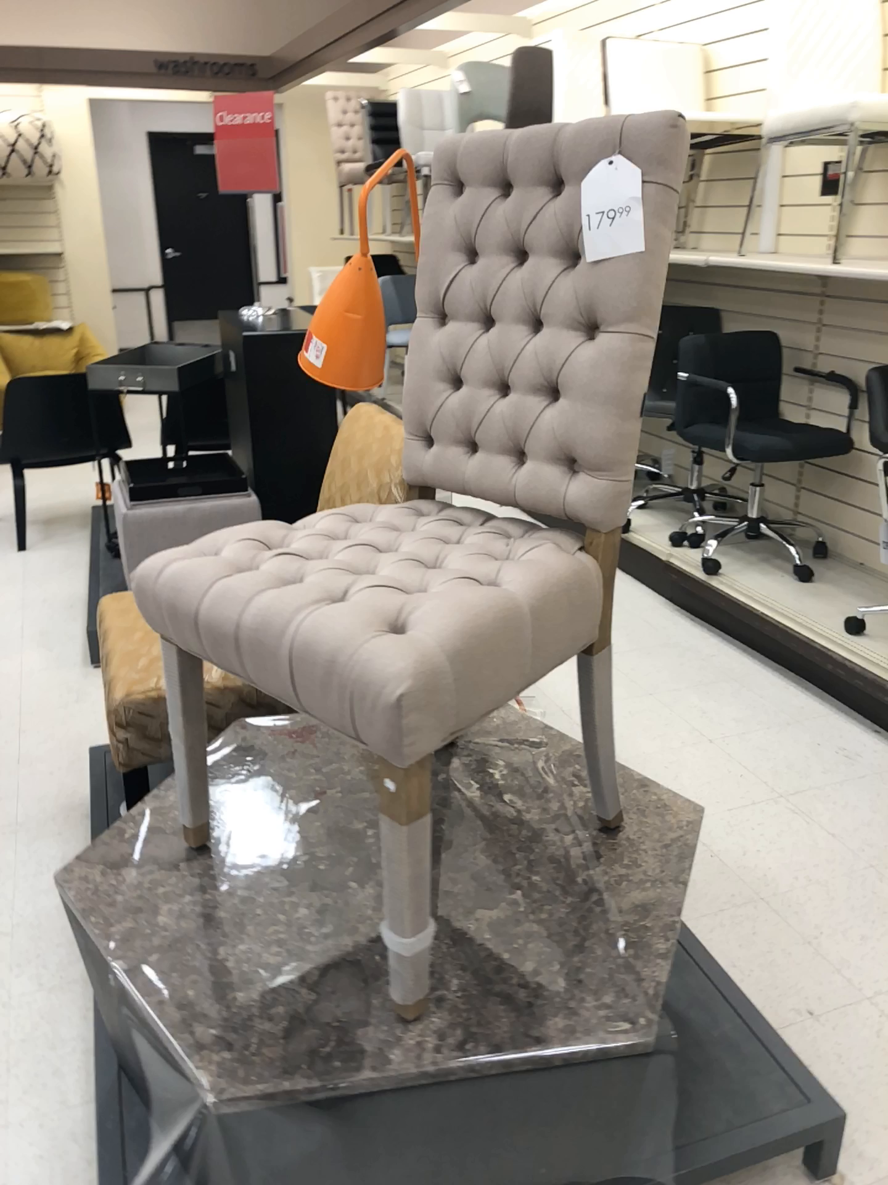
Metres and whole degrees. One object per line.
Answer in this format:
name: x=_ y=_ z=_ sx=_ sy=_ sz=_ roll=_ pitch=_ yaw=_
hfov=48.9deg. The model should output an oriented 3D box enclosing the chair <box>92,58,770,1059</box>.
chair: x=-0.011 y=-0.085 z=1.352 sx=0.580 sy=1.046 sz=0.572 roll=-19 pitch=27 yaw=-41
